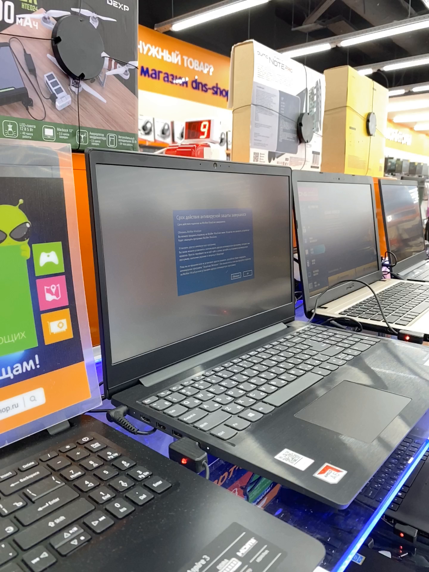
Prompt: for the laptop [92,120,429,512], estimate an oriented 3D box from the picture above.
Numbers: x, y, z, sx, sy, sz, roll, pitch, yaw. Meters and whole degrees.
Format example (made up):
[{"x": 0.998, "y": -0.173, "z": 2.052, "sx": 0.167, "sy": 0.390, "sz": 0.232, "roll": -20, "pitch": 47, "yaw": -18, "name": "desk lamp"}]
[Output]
[{"x": 0.103, "y": -0.018, "z": 0.484, "sx": 0.273, "sy": 0.240, "sz": 0.361, "roll": 9, "pitch": 14, "yaw": 40, "name": "laptop"}]
